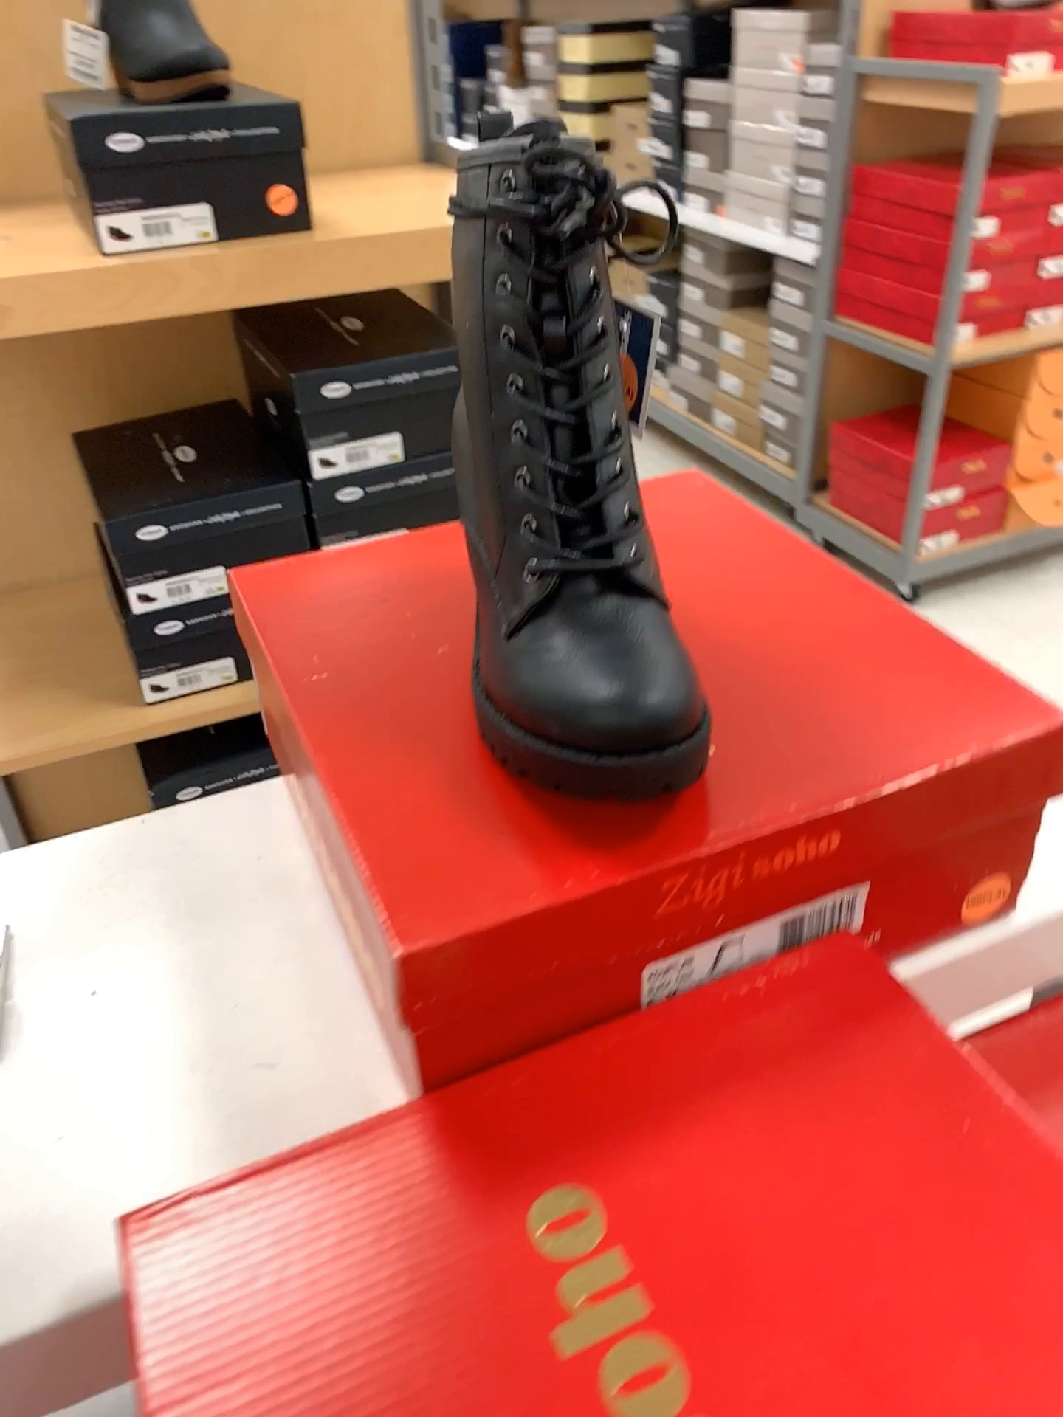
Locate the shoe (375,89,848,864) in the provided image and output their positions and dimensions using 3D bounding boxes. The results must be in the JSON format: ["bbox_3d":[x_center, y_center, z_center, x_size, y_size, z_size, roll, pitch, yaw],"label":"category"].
[{"bbox_3d":[0.012,-0.095,0.391,0.092,0.203,0.202,-9,34,-9],"label":"shoe"}]
